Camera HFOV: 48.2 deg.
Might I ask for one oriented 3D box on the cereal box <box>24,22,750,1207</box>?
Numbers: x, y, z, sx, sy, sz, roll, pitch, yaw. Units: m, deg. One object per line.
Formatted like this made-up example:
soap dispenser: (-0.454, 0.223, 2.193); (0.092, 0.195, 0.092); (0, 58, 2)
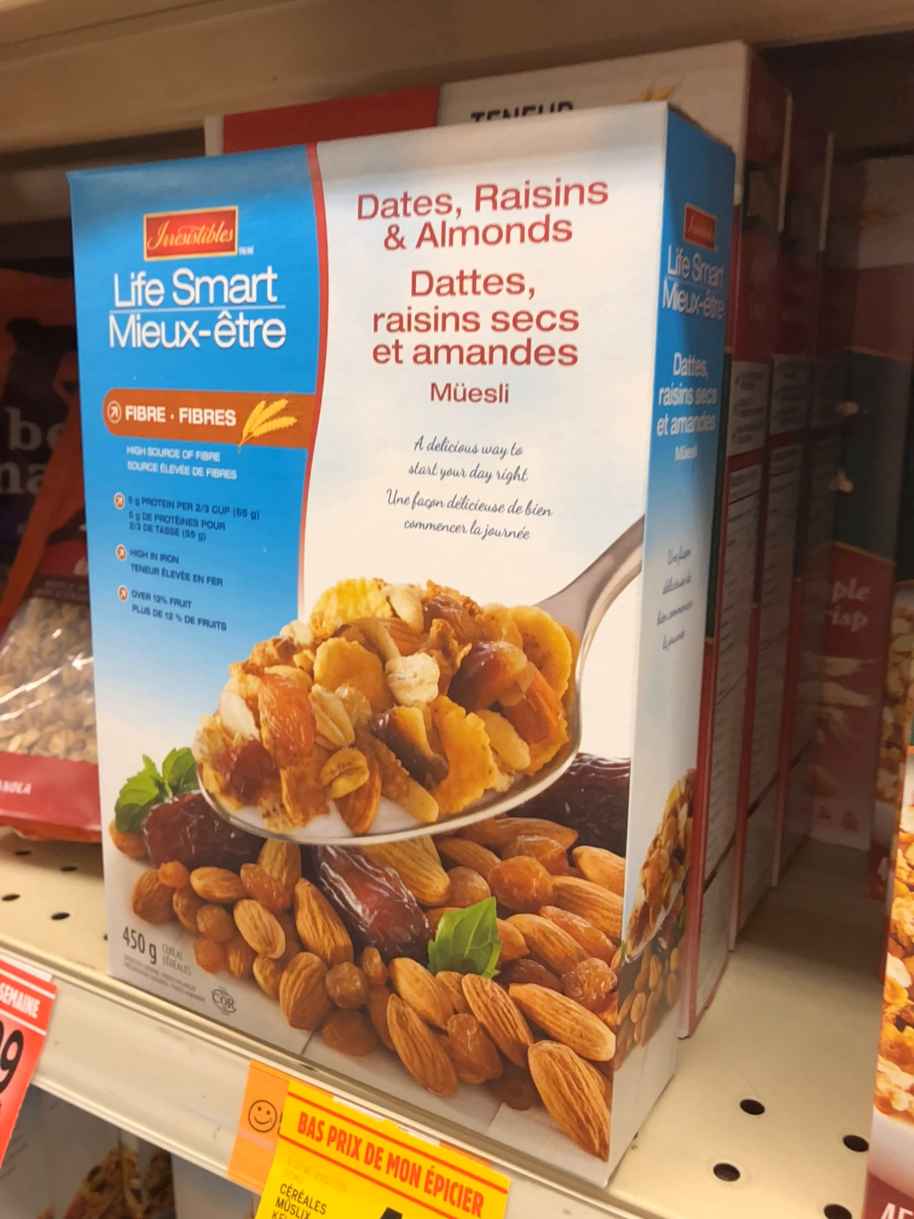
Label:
cereal box: (-0.024, 0.000, 0.264); (0.170, 0.239, 0.050); (8, 15, 30)
